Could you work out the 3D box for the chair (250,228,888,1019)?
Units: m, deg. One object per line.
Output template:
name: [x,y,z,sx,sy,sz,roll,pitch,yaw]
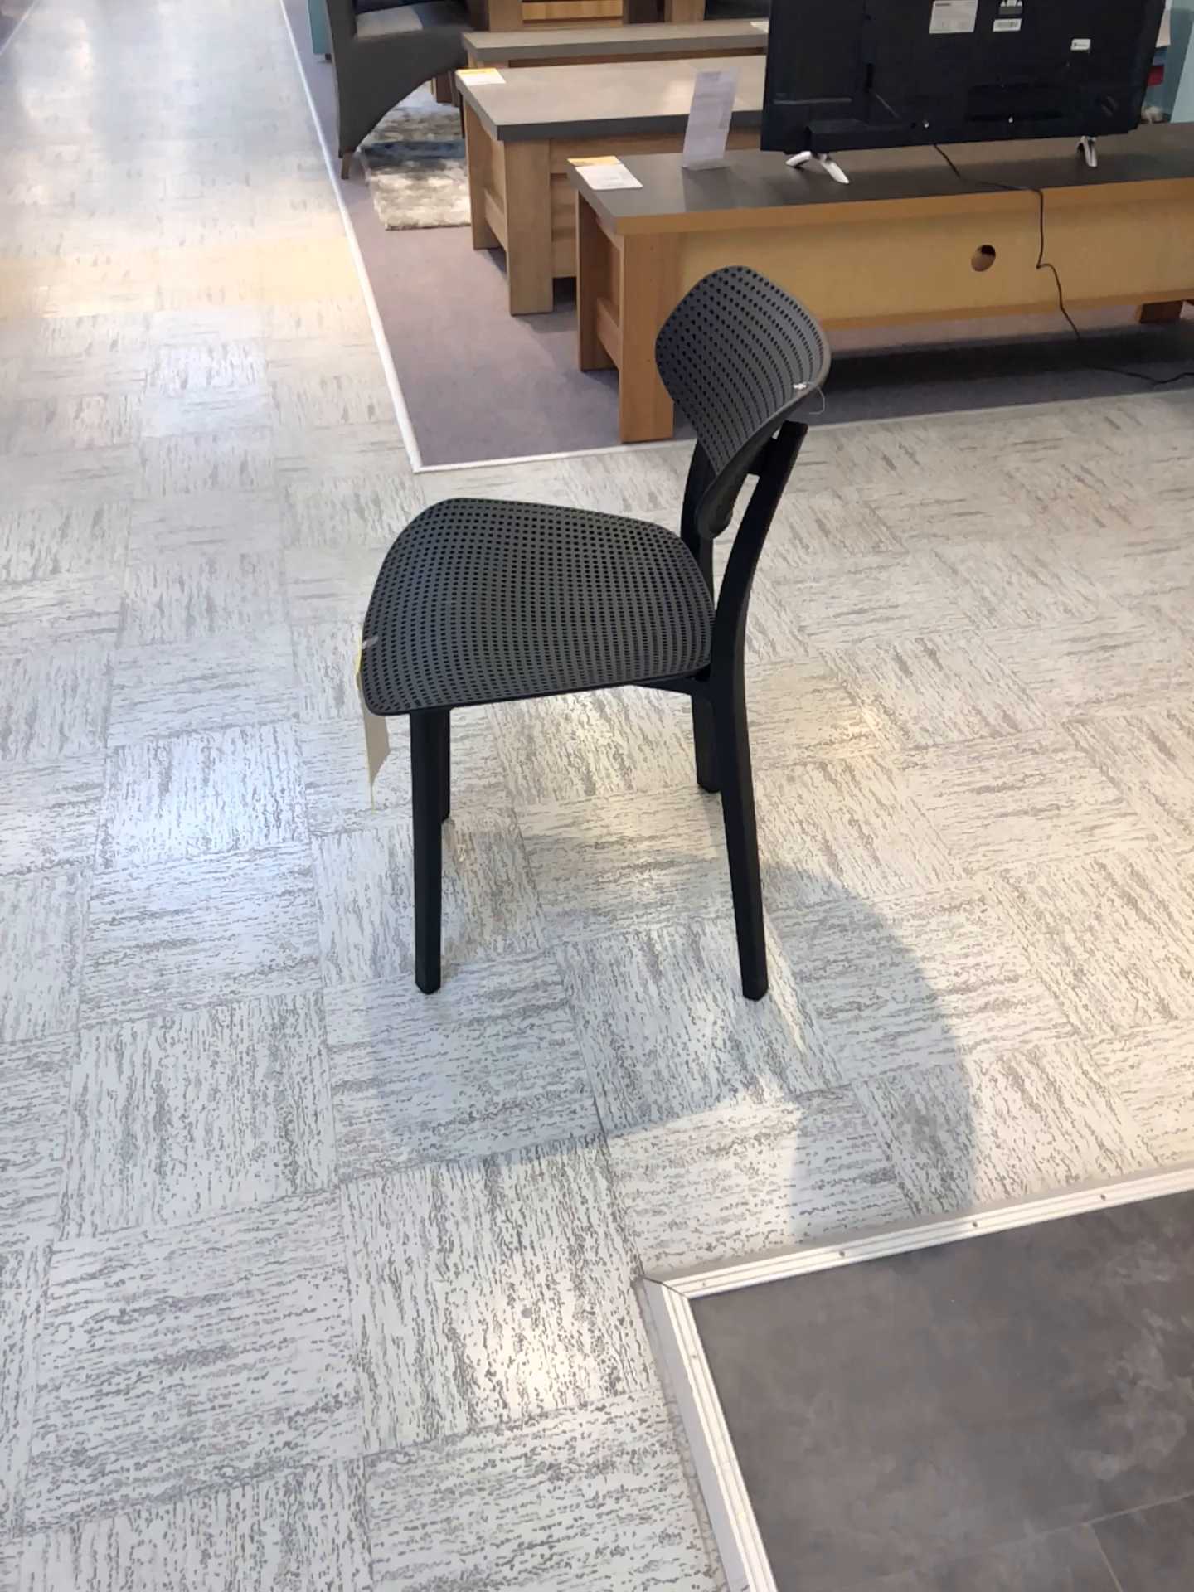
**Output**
chair: [-0.025,-0.201,1.484,0.520,0.686,0.543,-3,37,-2]
